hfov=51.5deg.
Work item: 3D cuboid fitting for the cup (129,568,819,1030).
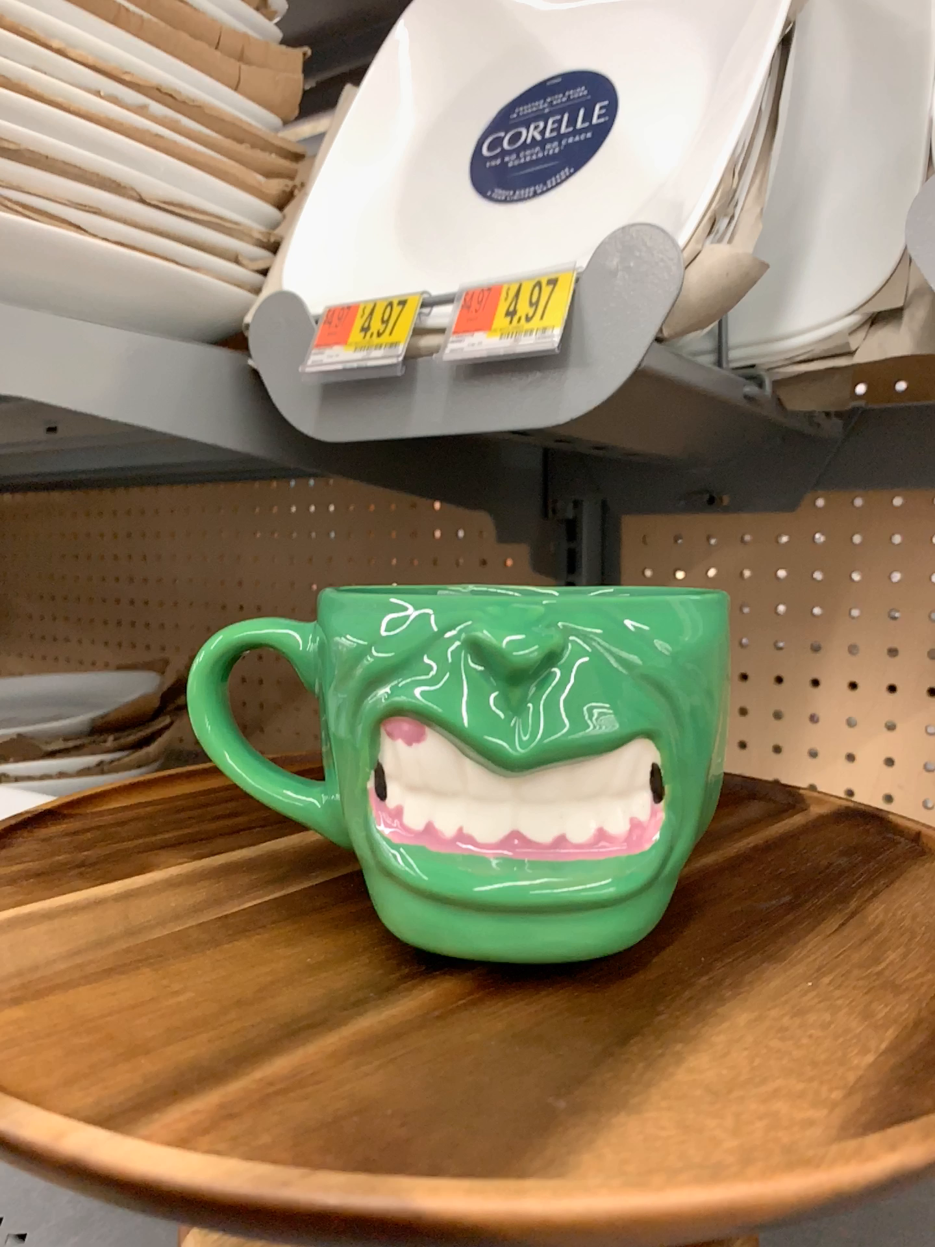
[{"bbox_3d":[0.004,0.032,0.264,0.140,0.090,0.130,0,4,0],"label":"cup"}]
